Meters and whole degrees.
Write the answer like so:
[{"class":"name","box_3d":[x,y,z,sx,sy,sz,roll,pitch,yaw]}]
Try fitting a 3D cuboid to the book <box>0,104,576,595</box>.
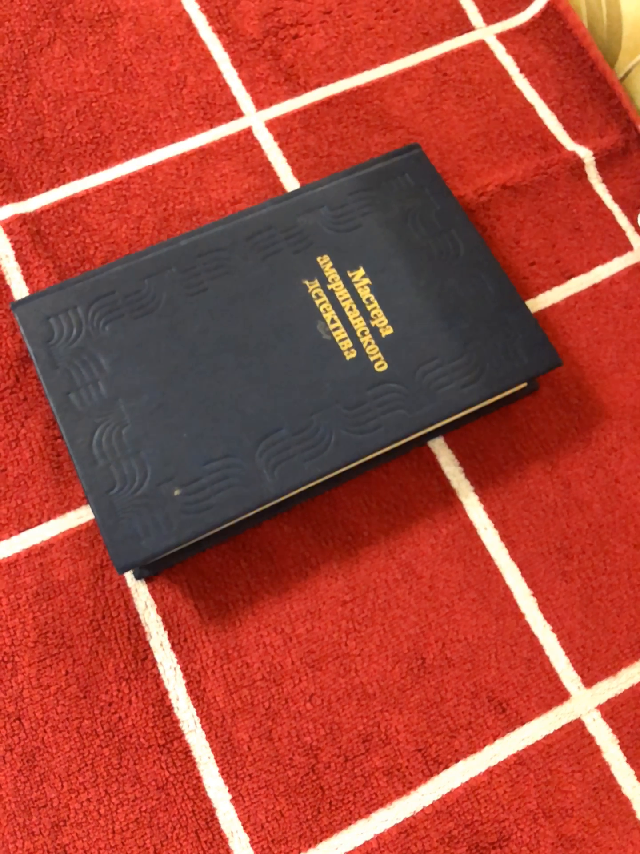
[{"class":"book","box_3d":[-0.017,-0.040,0.301,0.193,0.030,0.143,-25,73,-10]}]
